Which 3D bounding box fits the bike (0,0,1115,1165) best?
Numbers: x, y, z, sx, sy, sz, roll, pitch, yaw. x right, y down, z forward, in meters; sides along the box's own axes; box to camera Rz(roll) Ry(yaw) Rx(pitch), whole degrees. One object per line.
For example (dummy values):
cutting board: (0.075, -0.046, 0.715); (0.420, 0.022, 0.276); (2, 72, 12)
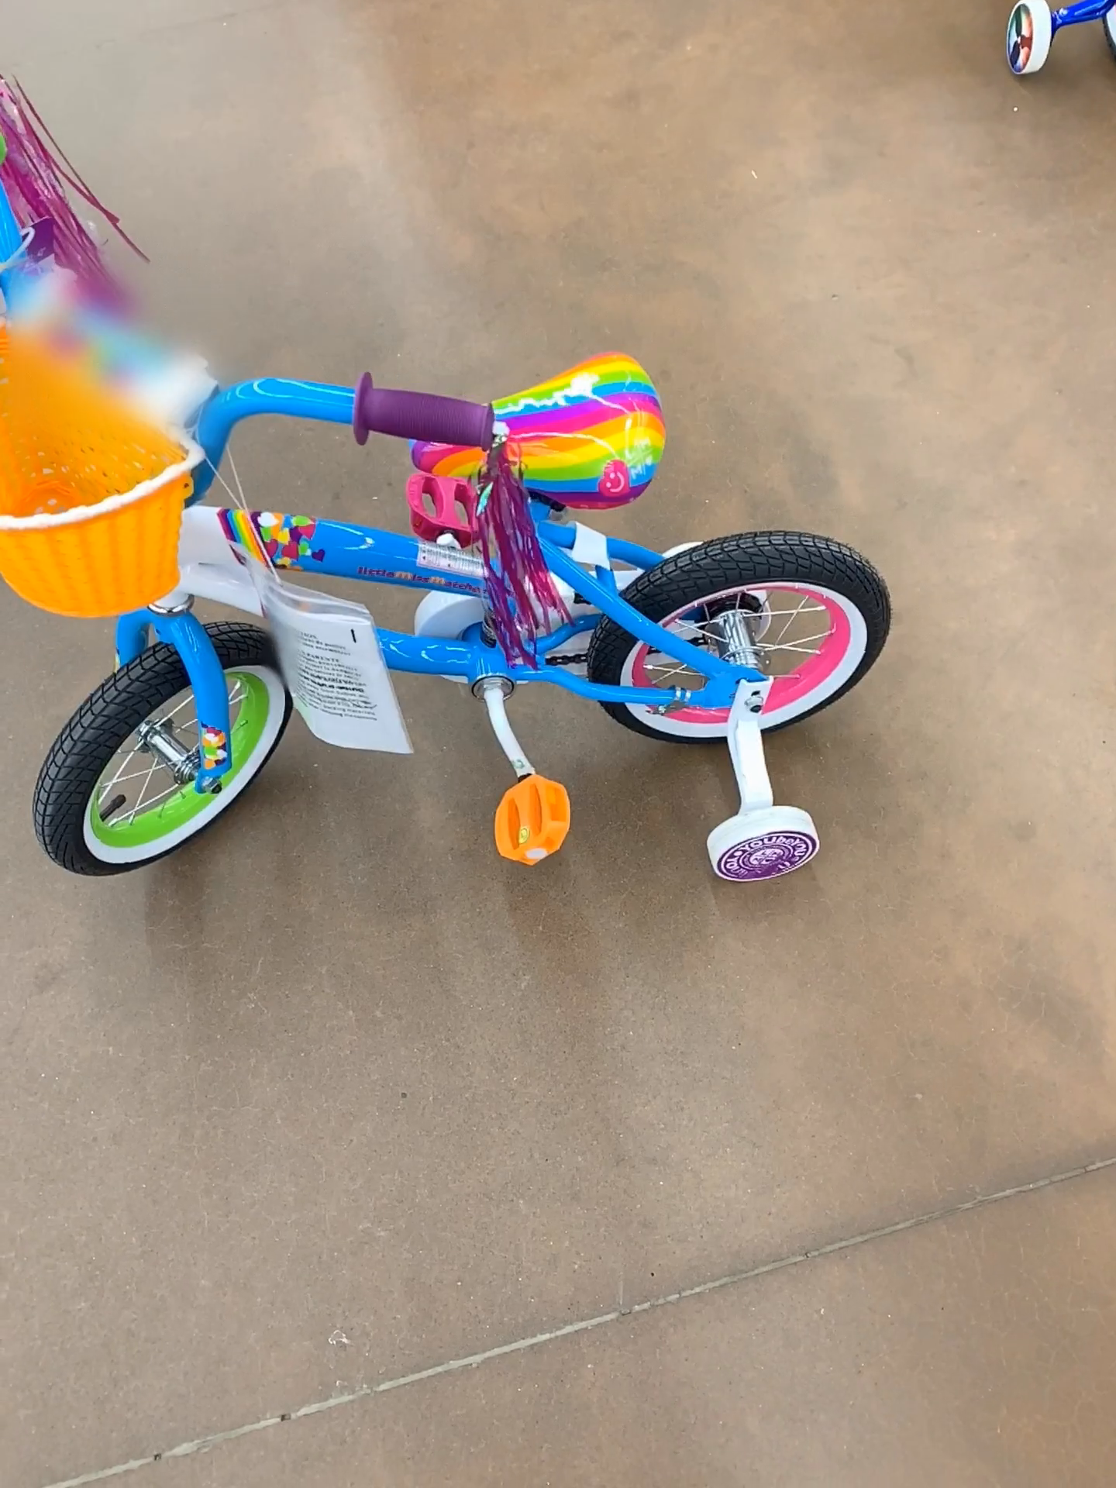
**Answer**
bike: (-0.100, -0.115, 0.951); (0.833, 0.667, 0.522); (-14, 56, 0)
